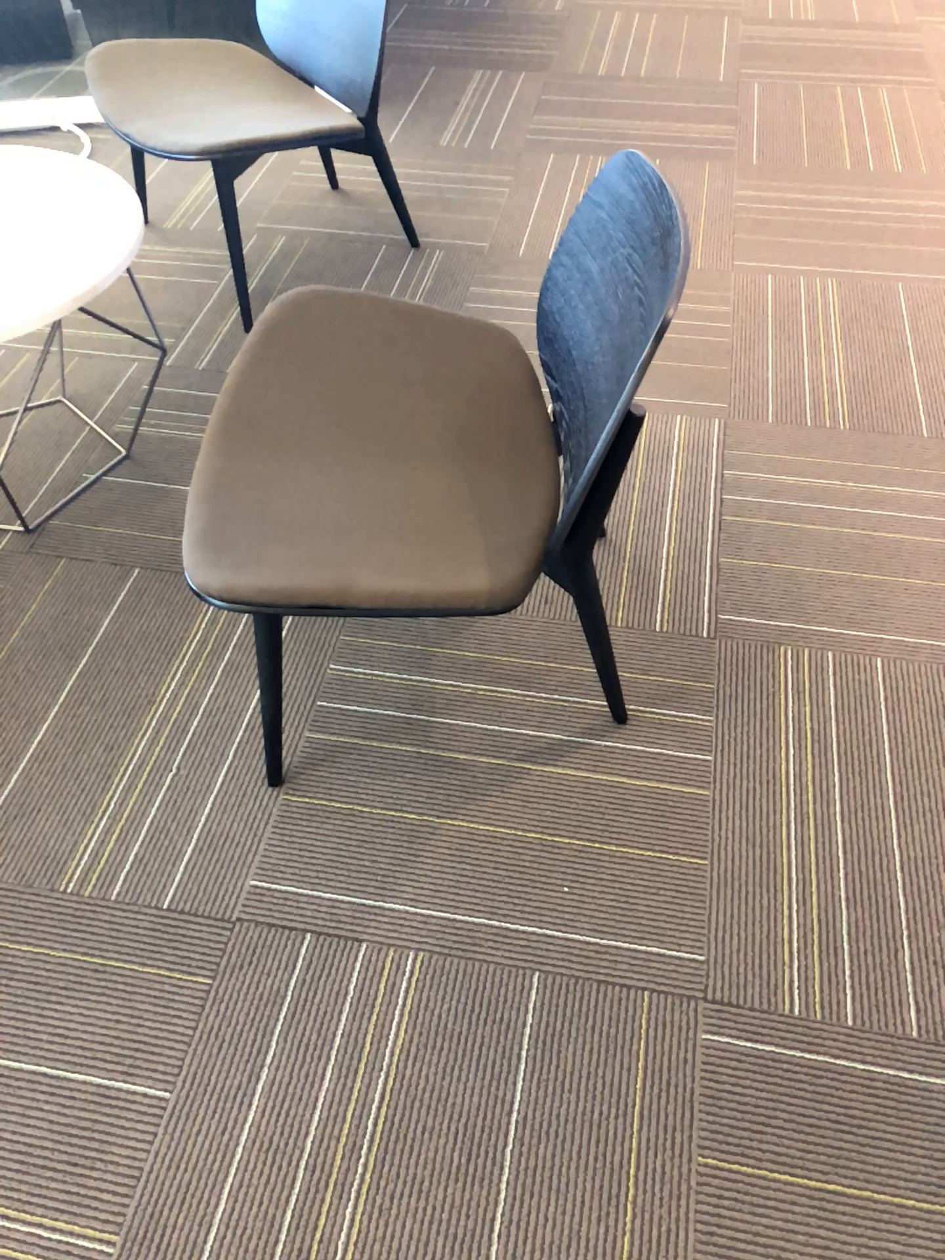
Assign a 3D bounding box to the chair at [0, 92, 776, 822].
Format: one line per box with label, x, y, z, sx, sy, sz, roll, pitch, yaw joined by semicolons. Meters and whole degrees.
chair;-0.086;-0.232;1.477;0.740;0.737;0.673;-2;47;0
